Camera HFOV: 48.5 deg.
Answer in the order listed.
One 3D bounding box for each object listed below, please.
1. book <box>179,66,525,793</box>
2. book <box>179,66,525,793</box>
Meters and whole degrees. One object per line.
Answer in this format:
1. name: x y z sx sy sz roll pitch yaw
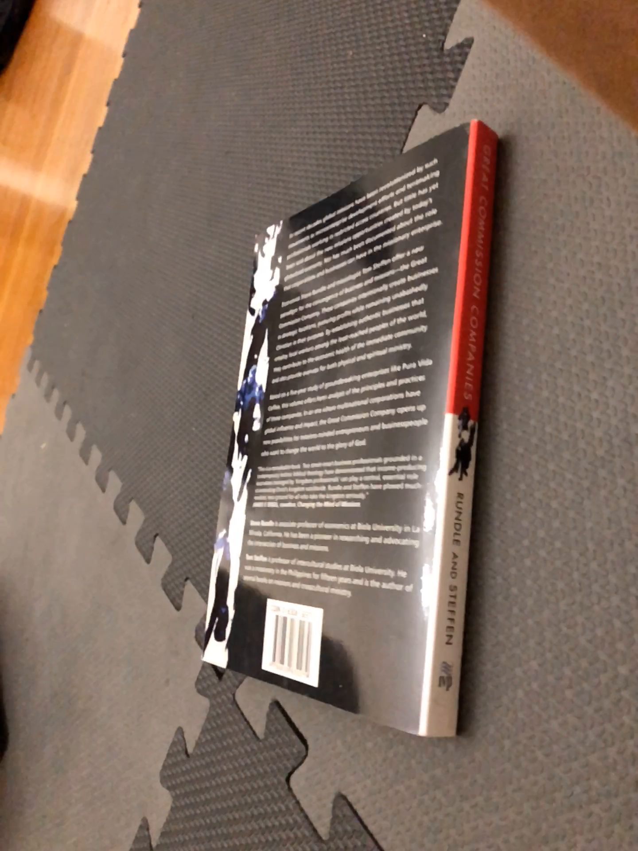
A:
1. book: 0.006 -0.002 0.283 0.151 0.020 0.230 -10 69 53
2. book: 0.006 -0.002 0.283 0.151 0.020 0.230 -10 69 53
